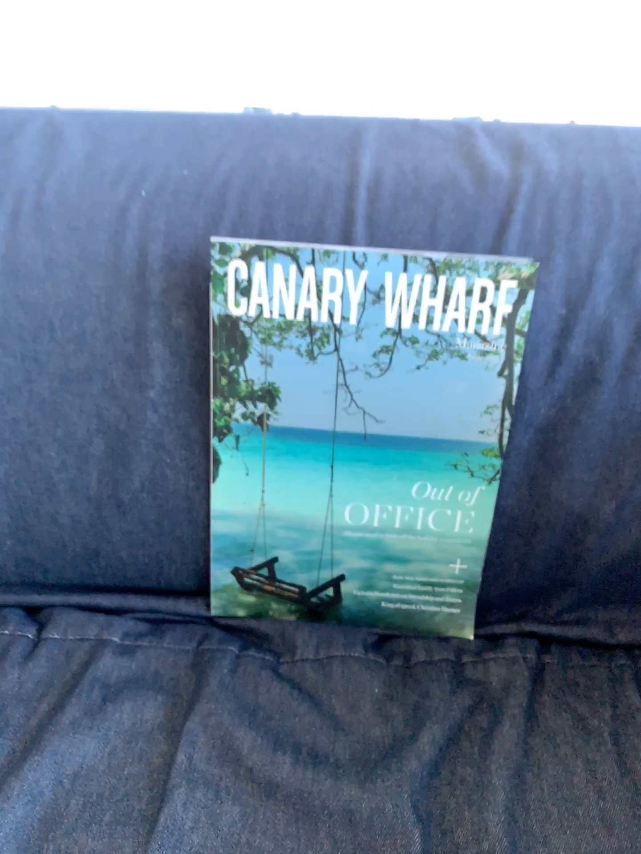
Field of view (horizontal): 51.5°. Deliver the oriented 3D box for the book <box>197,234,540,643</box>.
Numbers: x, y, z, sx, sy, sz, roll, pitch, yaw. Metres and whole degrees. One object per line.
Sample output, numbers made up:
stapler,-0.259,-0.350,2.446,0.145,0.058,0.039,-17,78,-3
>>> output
book,0.022,0.016,0.457,0.205,0.273,0.030,4,19,3
